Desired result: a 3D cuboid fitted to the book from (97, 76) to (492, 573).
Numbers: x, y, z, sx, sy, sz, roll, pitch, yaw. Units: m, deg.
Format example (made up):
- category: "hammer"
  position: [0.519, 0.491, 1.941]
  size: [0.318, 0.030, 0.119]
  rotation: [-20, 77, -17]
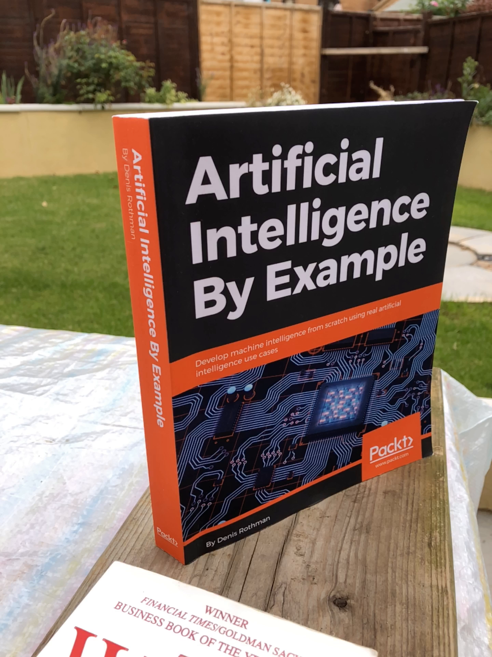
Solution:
- category: "book"
  position: [0.039, -0.010, 0.309]
  size: [0.210, 0.239, 0.040]
  rotation: [-13, 24, -27]
